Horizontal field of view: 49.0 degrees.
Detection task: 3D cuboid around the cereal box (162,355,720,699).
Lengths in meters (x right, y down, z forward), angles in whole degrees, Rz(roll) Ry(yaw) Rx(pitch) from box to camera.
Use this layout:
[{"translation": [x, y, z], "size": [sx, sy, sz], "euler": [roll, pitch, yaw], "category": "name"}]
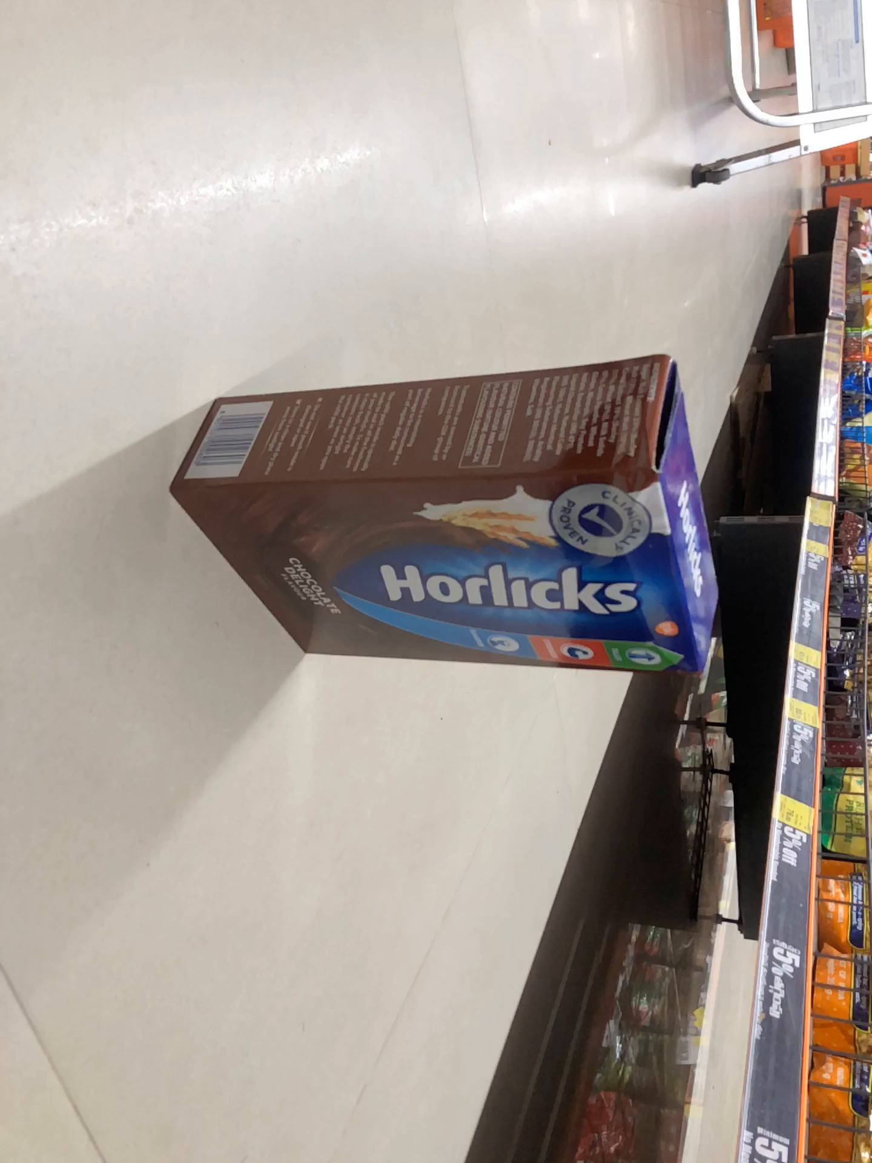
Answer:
[{"translation": [0.011, -0.014, 0.416], "size": [0.141, 0.199, 0.060], "euler": [62, 35, -48], "category": "cereal box"}]
